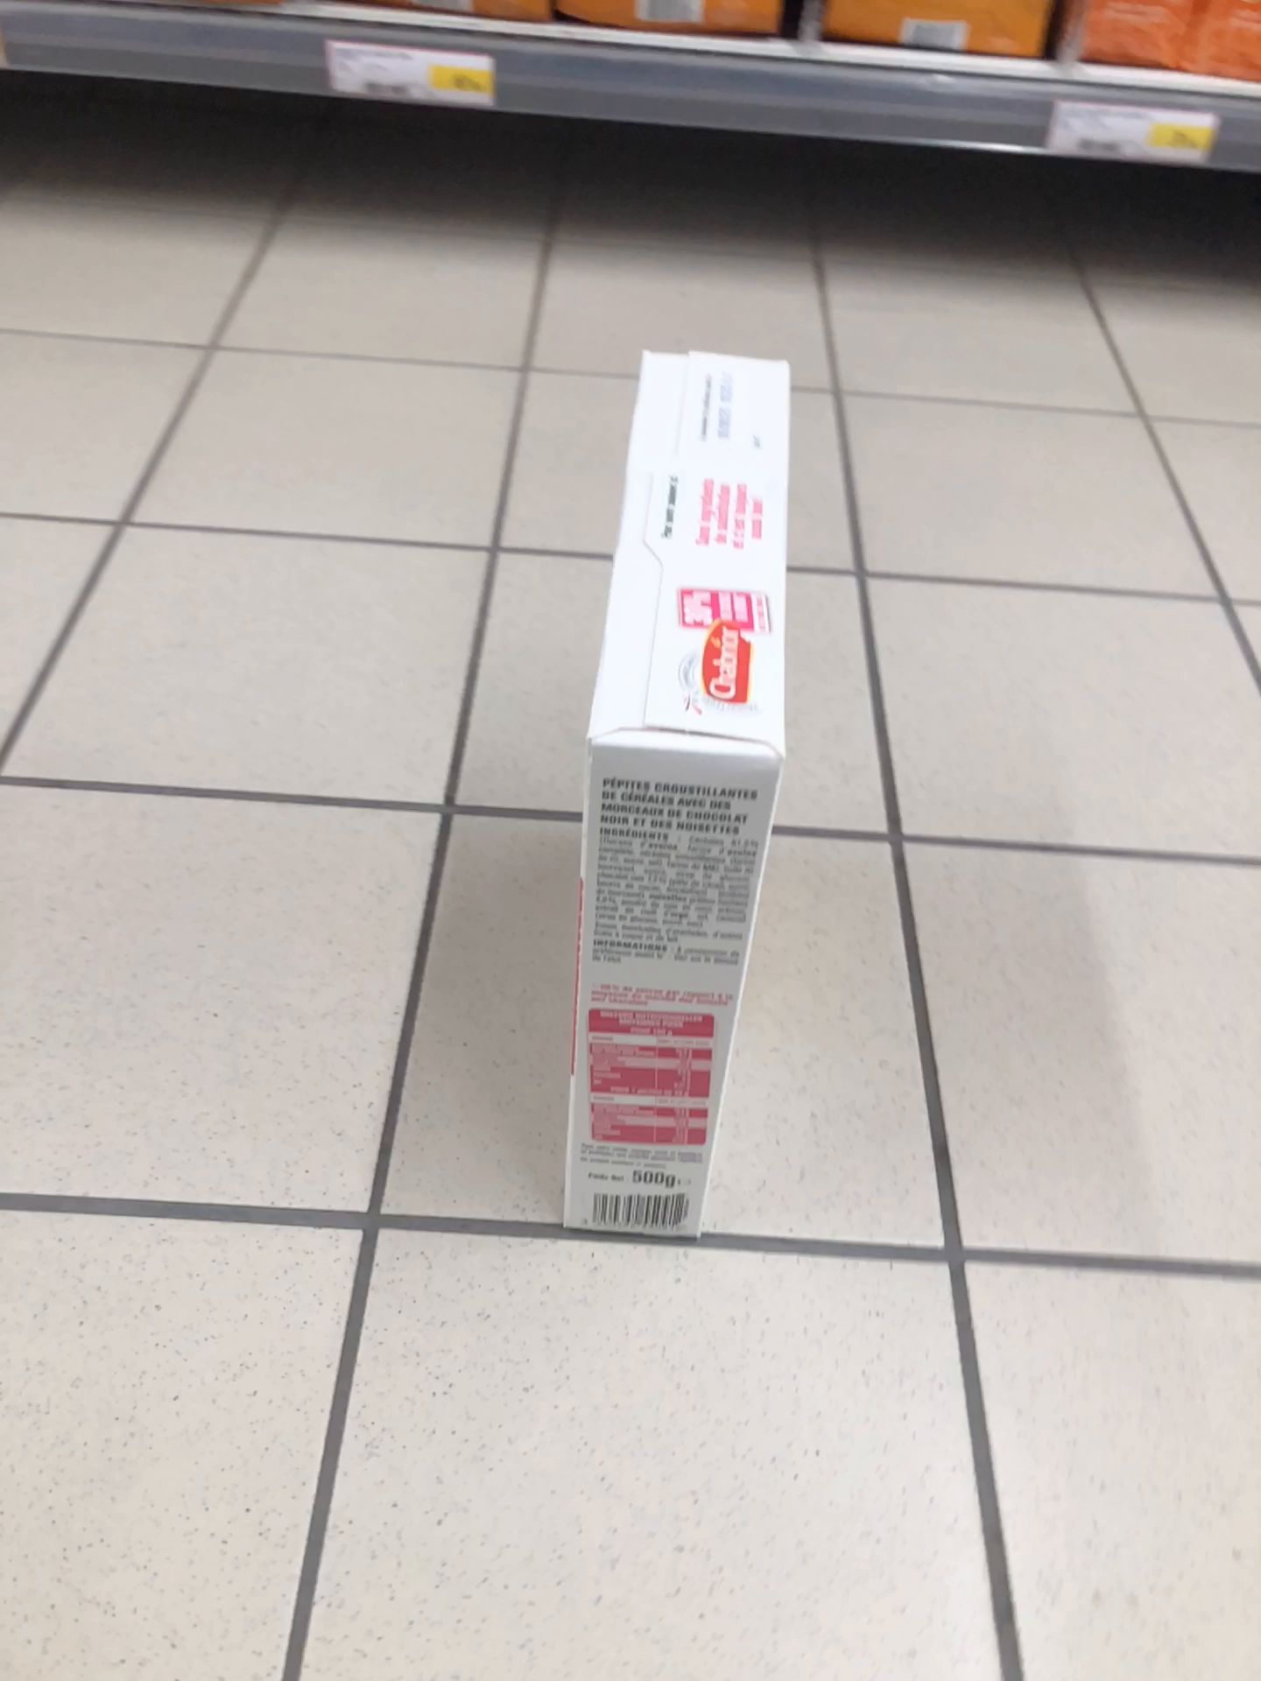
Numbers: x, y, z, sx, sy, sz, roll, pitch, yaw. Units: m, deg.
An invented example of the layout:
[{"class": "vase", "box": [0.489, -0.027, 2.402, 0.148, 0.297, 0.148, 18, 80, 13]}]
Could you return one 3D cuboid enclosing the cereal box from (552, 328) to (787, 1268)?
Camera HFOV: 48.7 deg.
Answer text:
[{"class": "cereal box", "box": [0.012, -0.010, 0.466, 0.050, 0.239, 0.201, 5, 45, 1]}]
